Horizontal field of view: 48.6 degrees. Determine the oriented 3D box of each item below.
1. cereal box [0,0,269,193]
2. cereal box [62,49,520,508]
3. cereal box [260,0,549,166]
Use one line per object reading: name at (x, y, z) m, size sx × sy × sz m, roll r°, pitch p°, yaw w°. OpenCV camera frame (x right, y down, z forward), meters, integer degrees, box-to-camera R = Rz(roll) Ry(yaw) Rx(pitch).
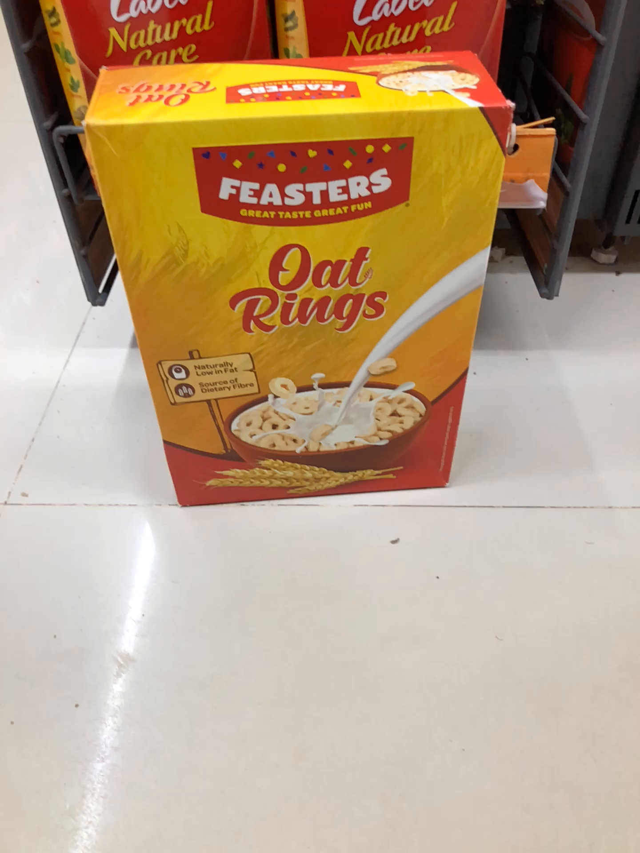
cereal box at (-0.095, -0.233, 0.406) m, size 0.120 × 0.169 × 0.081 m, roll -1°, pitch 44°, yaw -1°
cereal box at (-0.012, -0.061, 0.364) m, size 0.170 × 0.219 × 0.070 m, roll -4°, pitch 44°, yaw -4°
cereal box at (0.034, -0.232, 0.379) m, size 0.120 × 0.149 × 0.081 m, roll -4°, pitch 44°, yaw -4°
